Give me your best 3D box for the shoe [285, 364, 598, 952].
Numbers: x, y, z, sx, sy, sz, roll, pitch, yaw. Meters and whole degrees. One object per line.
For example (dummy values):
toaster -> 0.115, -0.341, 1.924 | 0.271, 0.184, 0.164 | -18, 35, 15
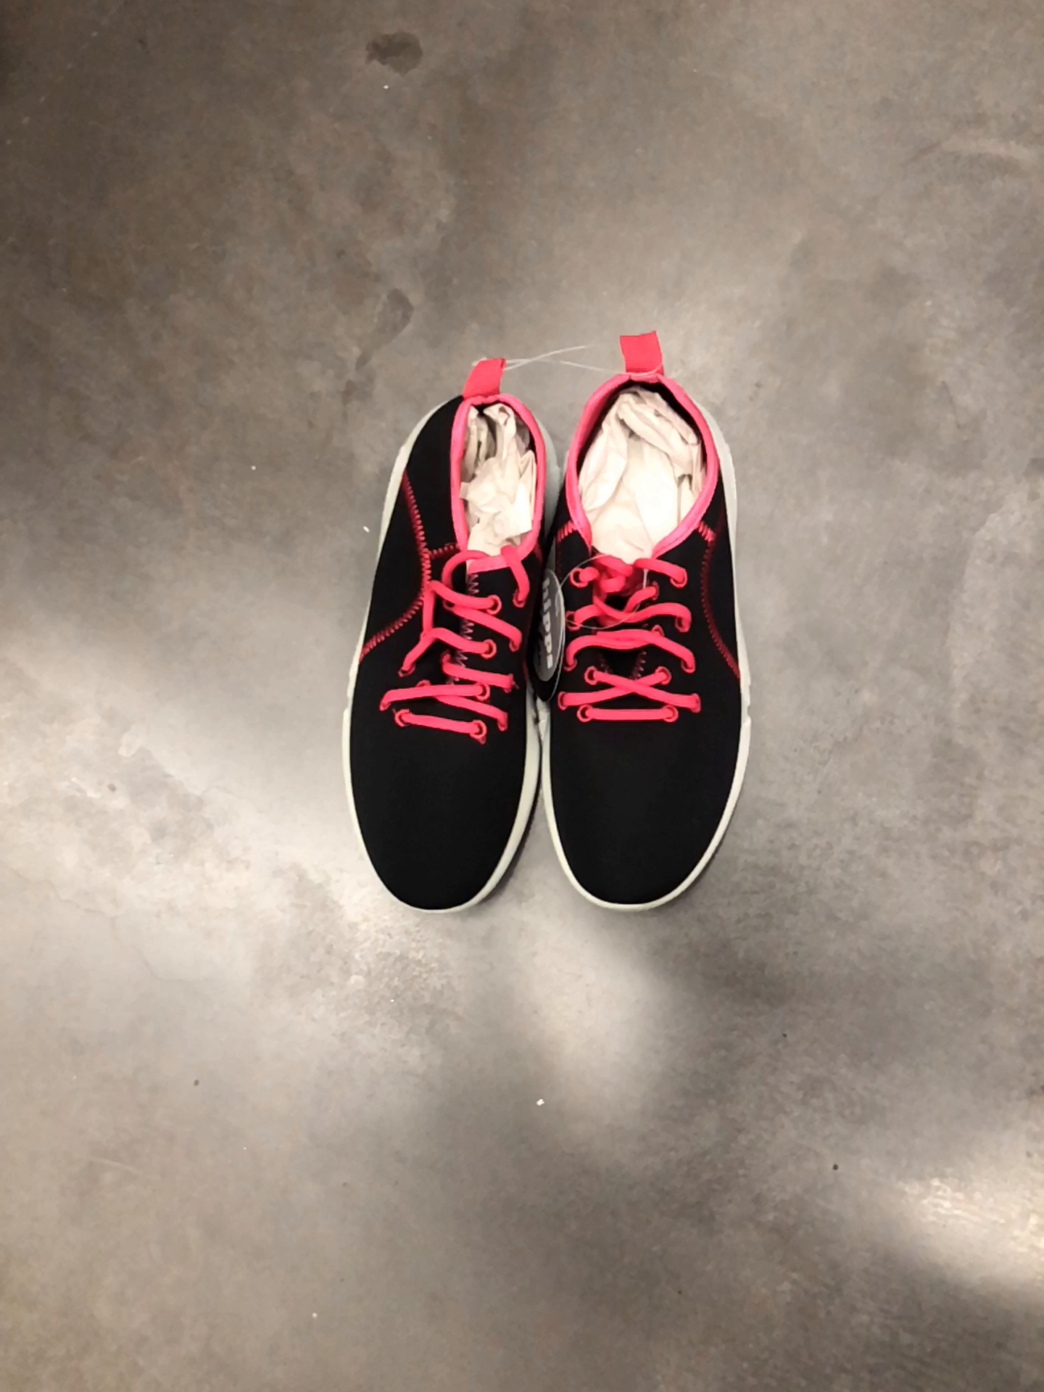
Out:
shoe -> -0.028, -0.014, 0.503 | 0.100, 0.090, 0.230 | 5, 83, 5

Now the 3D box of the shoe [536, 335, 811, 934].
shoe -> 0.059, -0.021, 0.482 | 0.100, 0.090, 0.230 | -1, 82, 4
